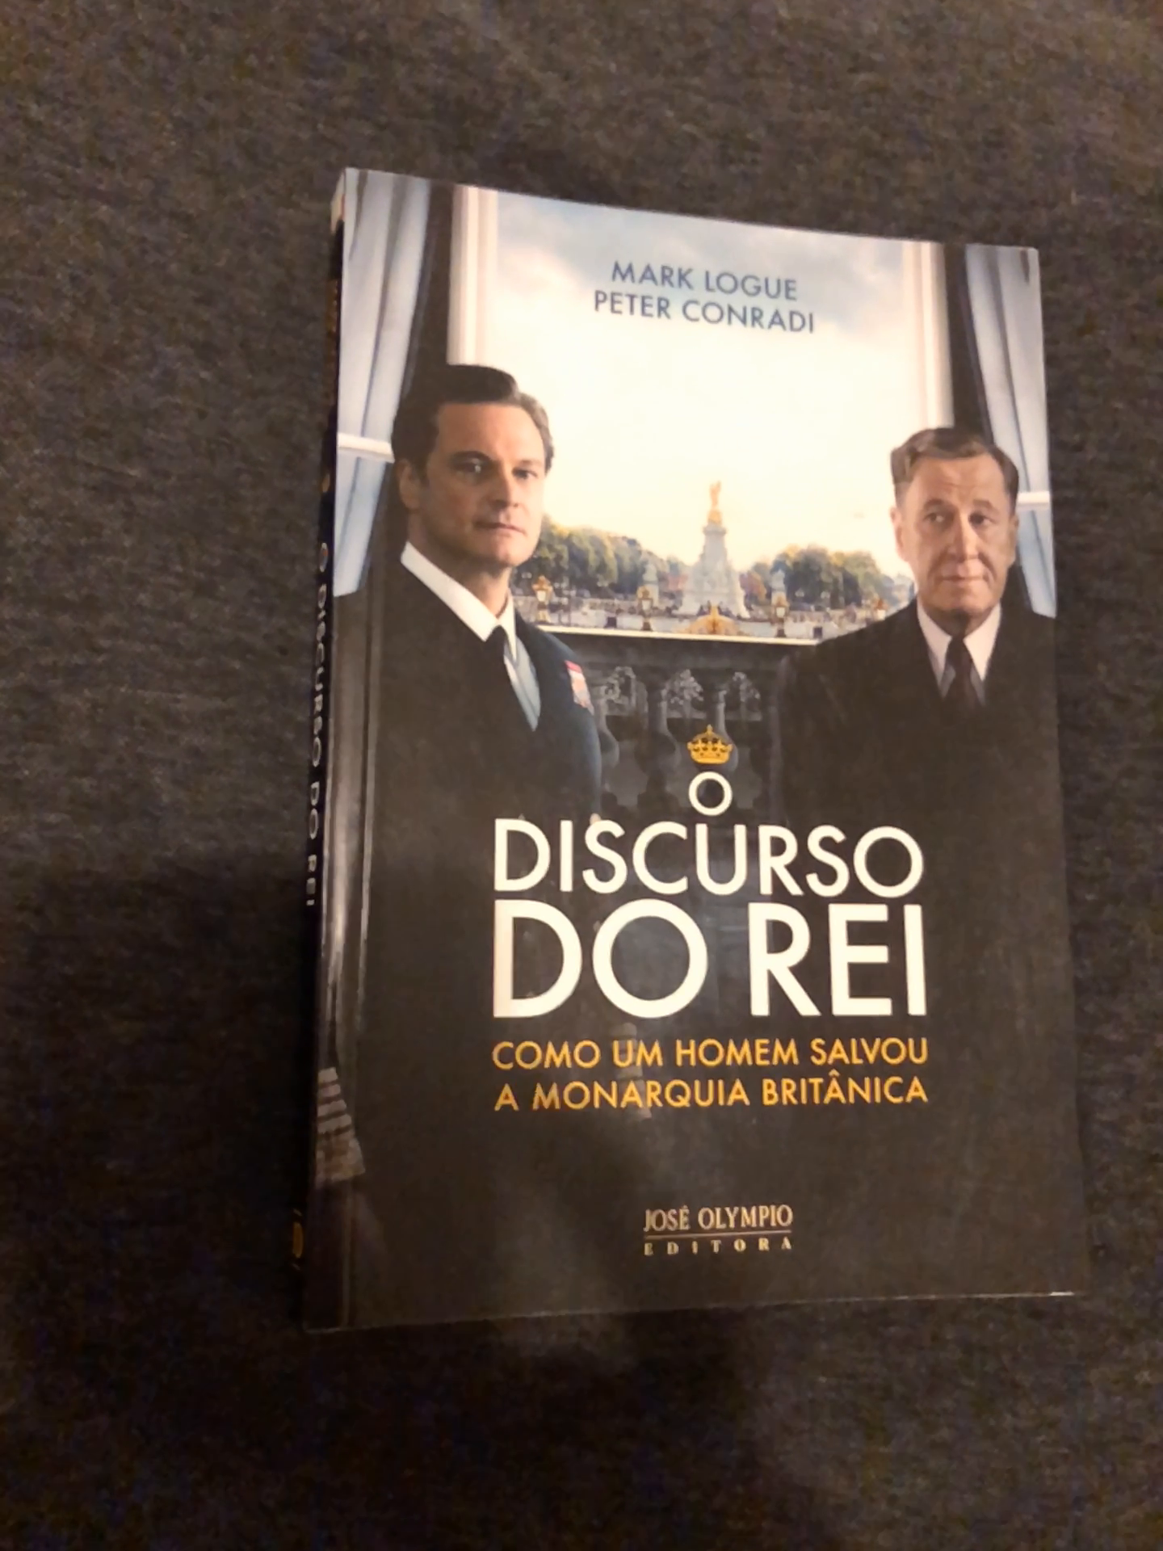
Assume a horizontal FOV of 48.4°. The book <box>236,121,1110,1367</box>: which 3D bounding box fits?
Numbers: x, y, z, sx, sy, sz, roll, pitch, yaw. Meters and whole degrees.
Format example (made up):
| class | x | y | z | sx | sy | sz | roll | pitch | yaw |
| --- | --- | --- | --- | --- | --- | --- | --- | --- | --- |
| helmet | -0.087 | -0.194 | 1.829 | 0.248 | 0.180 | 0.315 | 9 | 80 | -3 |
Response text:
| class | x | y | z | sx | sy | sz | roll | pitch | yaw |
| --- | --- | --- | --- | --- | --- | --- | --- | --- | --- |
| book | 0.019 | -0.010 | 0.264 | 0.160 | 0.030 | 0.230 | 2 | 80 | -11 |
